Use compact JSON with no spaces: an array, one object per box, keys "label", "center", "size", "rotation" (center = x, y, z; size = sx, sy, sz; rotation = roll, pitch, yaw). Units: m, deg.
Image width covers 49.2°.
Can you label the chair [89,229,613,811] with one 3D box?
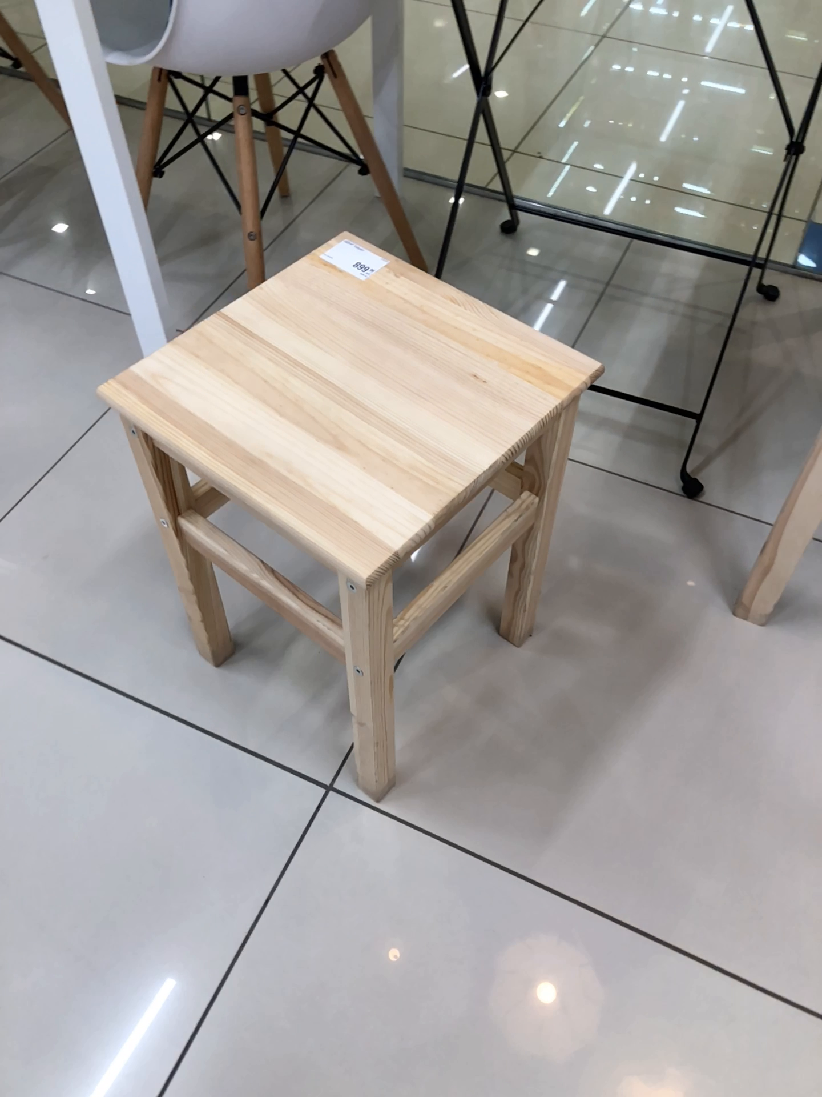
[{"label":"chair","center":[-0.049,-0.024,0.945],"size":[0.327,0.408,0.321],"rotation":[34,59,24]}]
